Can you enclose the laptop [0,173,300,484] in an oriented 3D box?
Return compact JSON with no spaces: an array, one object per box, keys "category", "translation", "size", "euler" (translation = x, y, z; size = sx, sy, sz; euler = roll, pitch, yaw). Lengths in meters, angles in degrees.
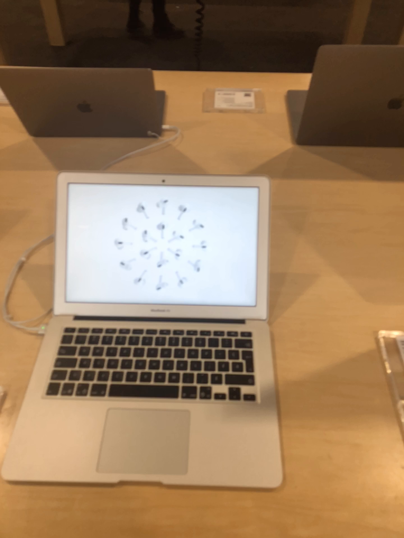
[{"category":"laptop","translation":[-0.062,0.049,0.560],"size":[0.302,0.137,0.372],"euler":[1,48,1]}]
